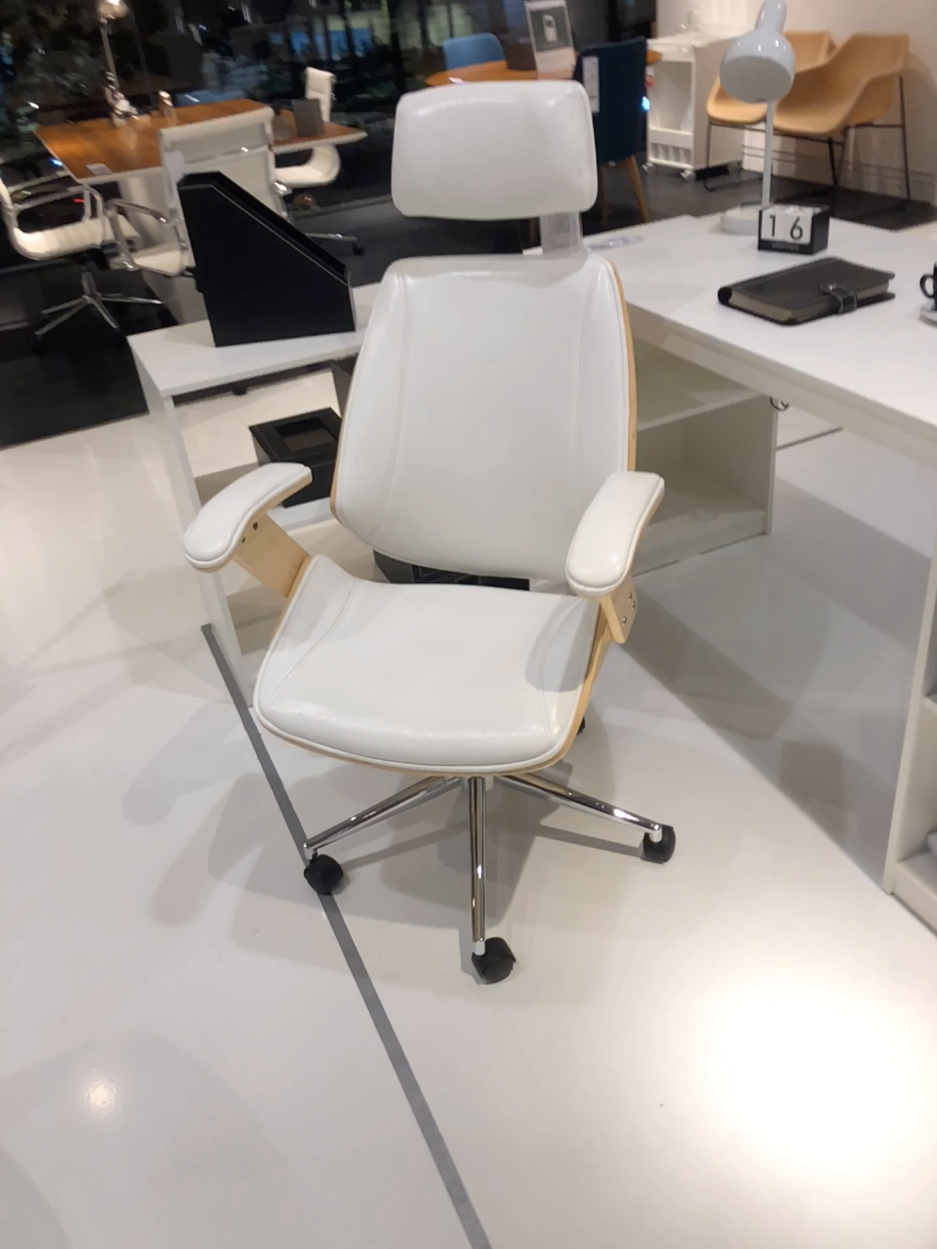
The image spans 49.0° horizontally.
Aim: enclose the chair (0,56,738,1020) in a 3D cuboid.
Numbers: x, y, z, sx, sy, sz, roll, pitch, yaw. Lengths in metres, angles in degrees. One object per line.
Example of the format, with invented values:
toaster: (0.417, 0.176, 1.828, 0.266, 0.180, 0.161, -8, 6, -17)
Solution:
chair: (-0.009, -0.142, 1.506, 0.670, 1.101, 0.705, 6, 34, 19)
